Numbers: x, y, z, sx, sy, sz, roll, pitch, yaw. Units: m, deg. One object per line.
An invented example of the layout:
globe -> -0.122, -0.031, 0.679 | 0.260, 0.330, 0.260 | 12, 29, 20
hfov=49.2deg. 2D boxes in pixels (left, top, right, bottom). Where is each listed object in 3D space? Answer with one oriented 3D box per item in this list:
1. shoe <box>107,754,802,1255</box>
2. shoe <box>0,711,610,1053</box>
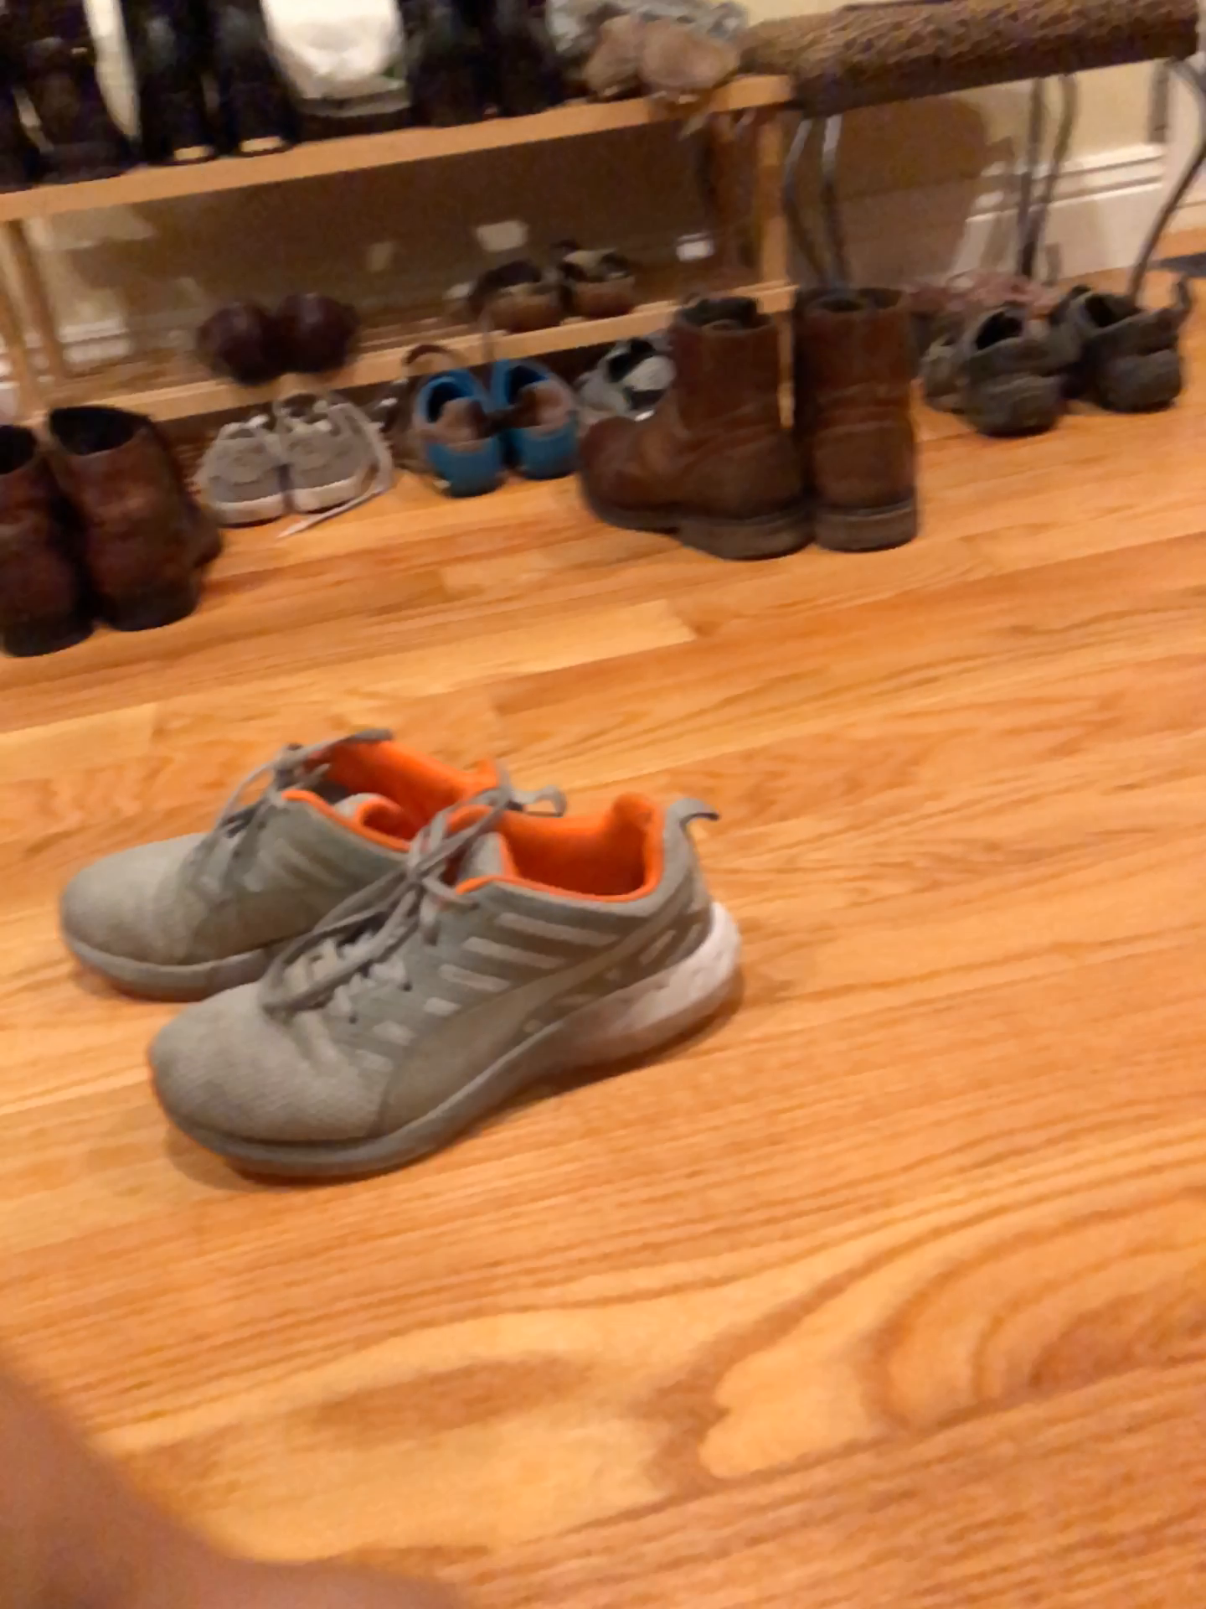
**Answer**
shoe -> -0.059, 0.070, 0.533 | 0.250, 0.080, 0.111 | -16, 31, -14
shoe -> -0.129, 0.035, 0.608 | 0.250, 0.099, 0.101 | -5, 30, 6
